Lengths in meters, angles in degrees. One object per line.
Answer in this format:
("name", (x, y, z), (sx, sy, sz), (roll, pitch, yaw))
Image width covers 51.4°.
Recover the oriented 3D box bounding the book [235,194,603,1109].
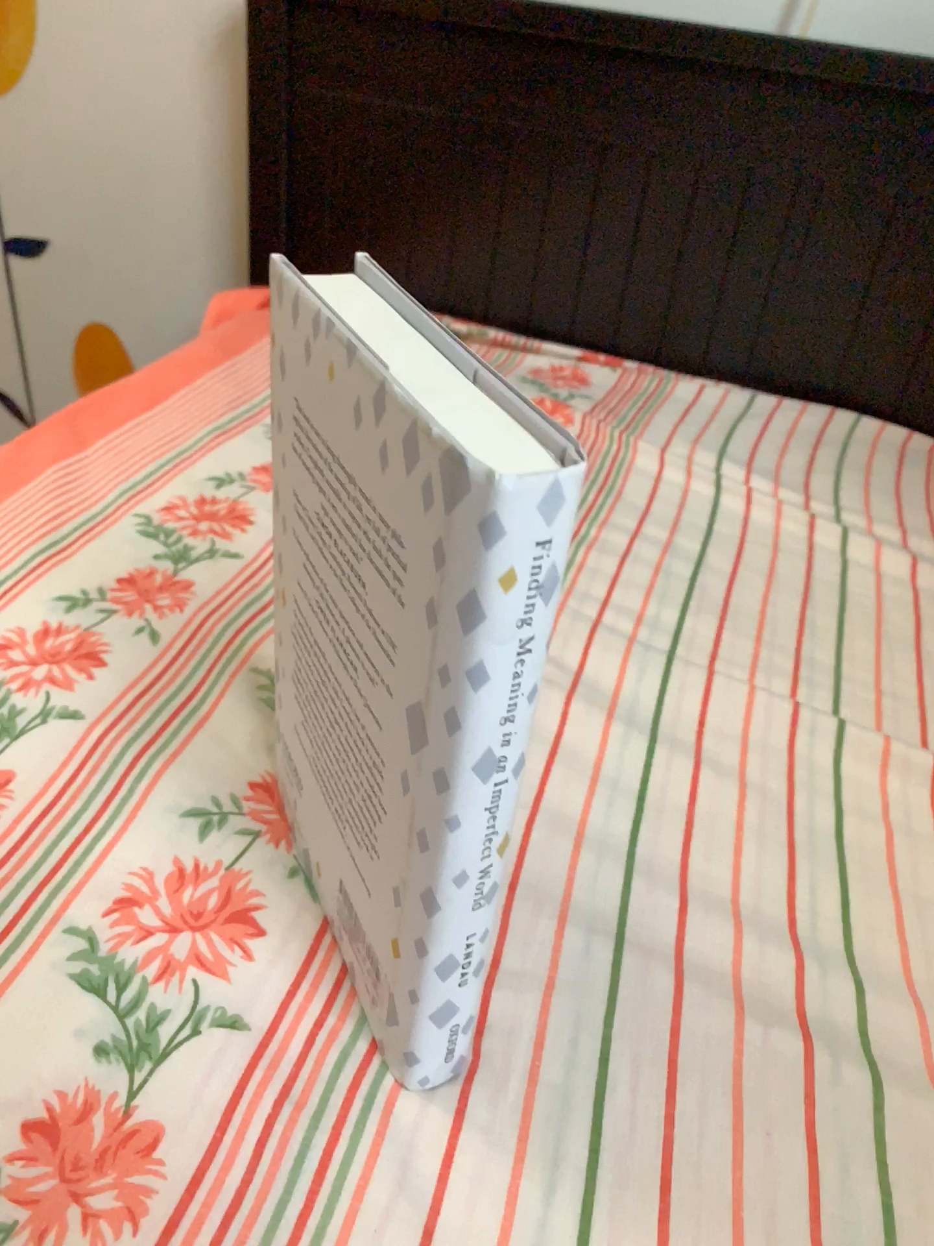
("book", (-0.033, 0.007, 0.291), (0.030, 0.218, 0.161), (-9, 37, -23))
